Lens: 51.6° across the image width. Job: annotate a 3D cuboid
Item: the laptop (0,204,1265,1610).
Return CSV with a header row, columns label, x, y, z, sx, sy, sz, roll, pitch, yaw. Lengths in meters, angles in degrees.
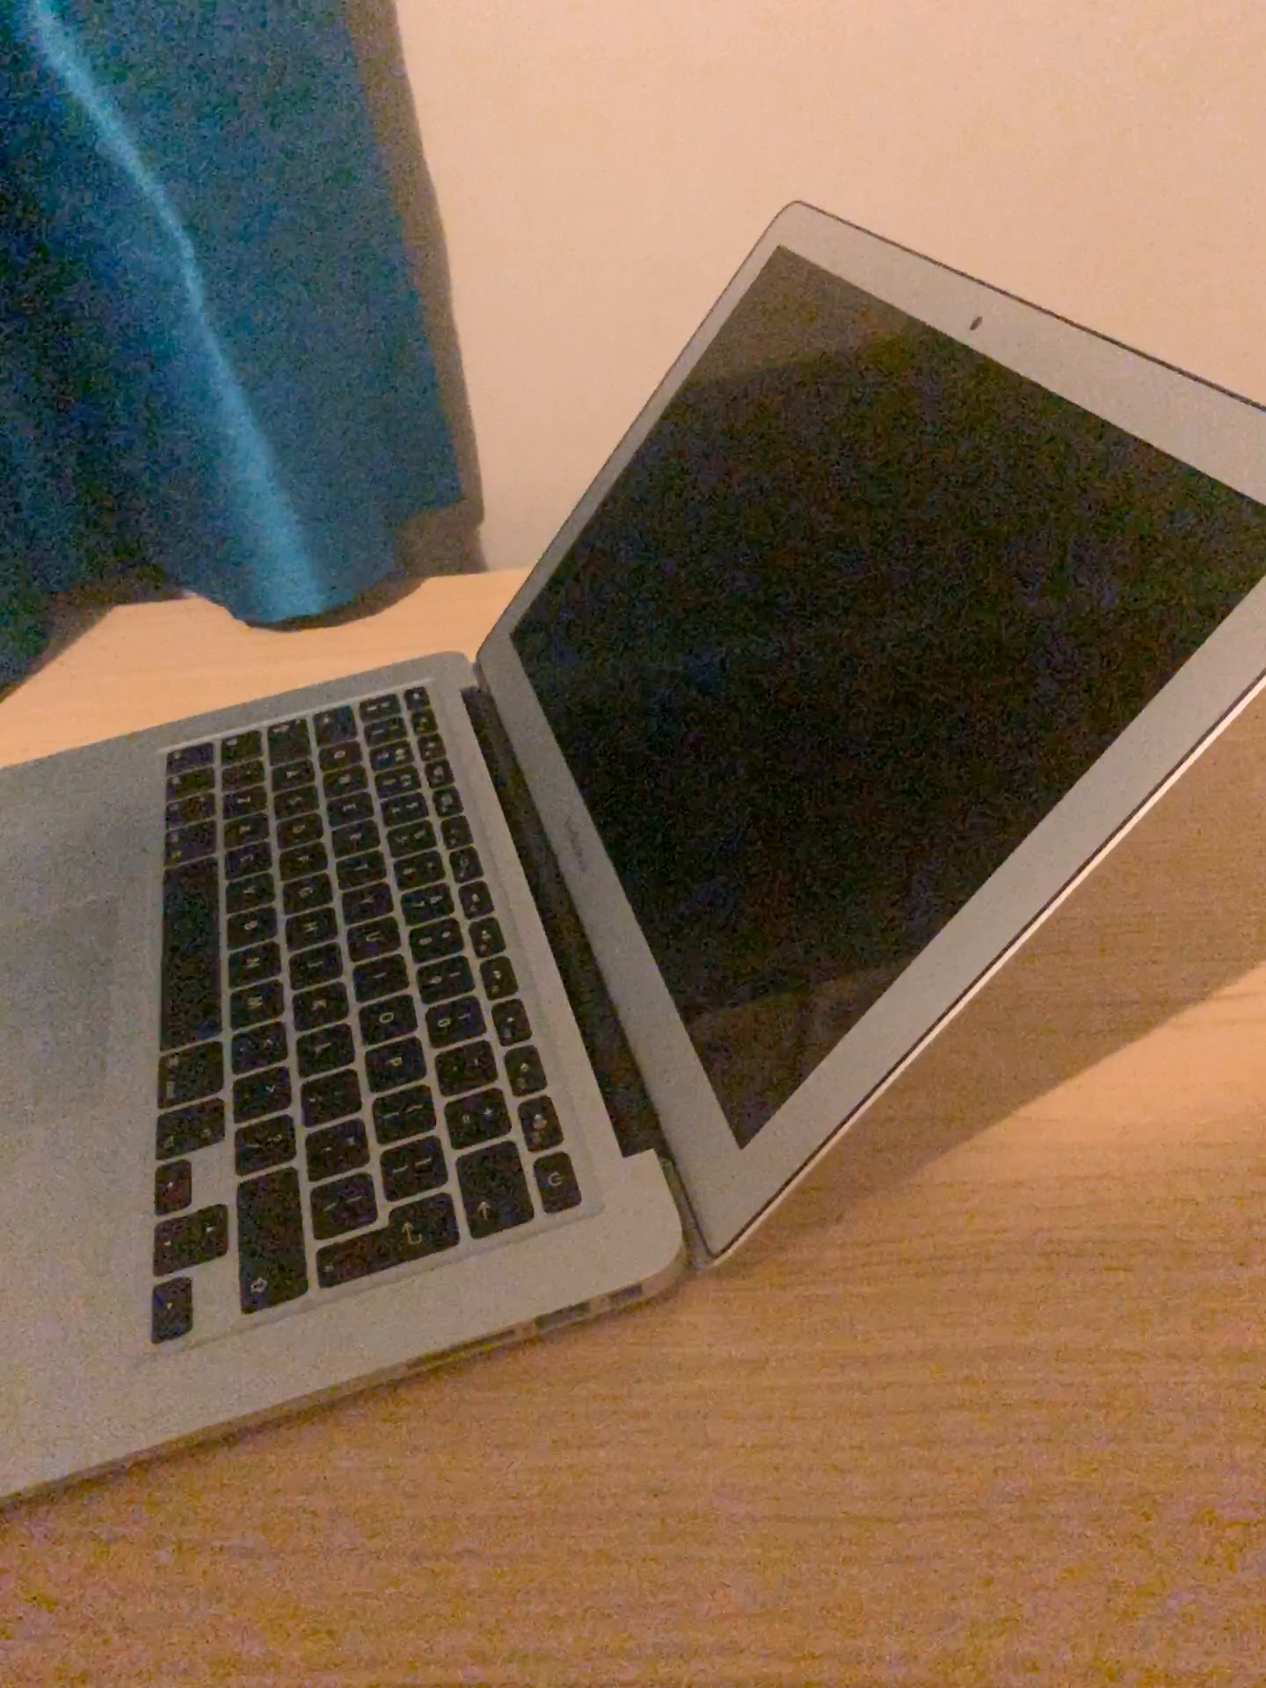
label,x,y,z,sx,sy,sz,roll,pitch,yaw
laptop,-0.068,-0.041,0.366,0.368,0.144,0.304,-16,37,-9
